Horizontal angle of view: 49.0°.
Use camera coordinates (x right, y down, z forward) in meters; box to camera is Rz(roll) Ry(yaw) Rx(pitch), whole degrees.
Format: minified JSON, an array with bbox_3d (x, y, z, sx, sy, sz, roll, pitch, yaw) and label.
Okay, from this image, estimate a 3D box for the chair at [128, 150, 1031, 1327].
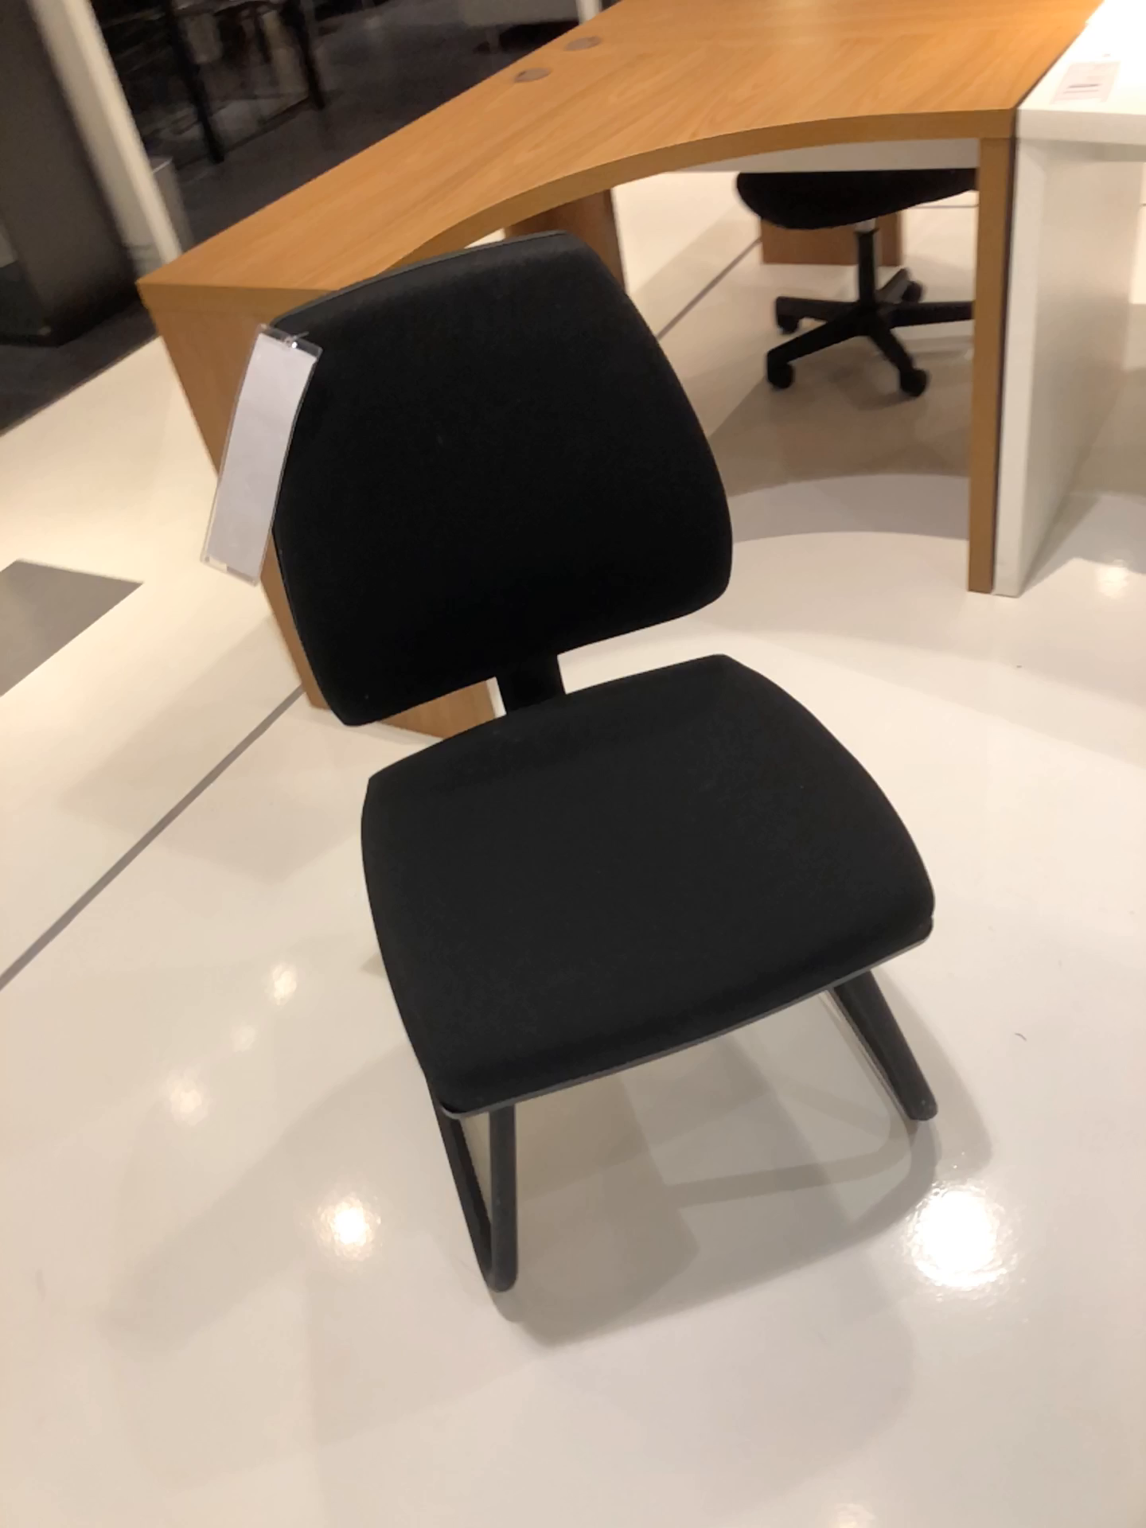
[{"bbox_3d":[0.019,-0.014,1.244,0.550,0.873,0.564,-20,40,-8],"label":"chair"}]
